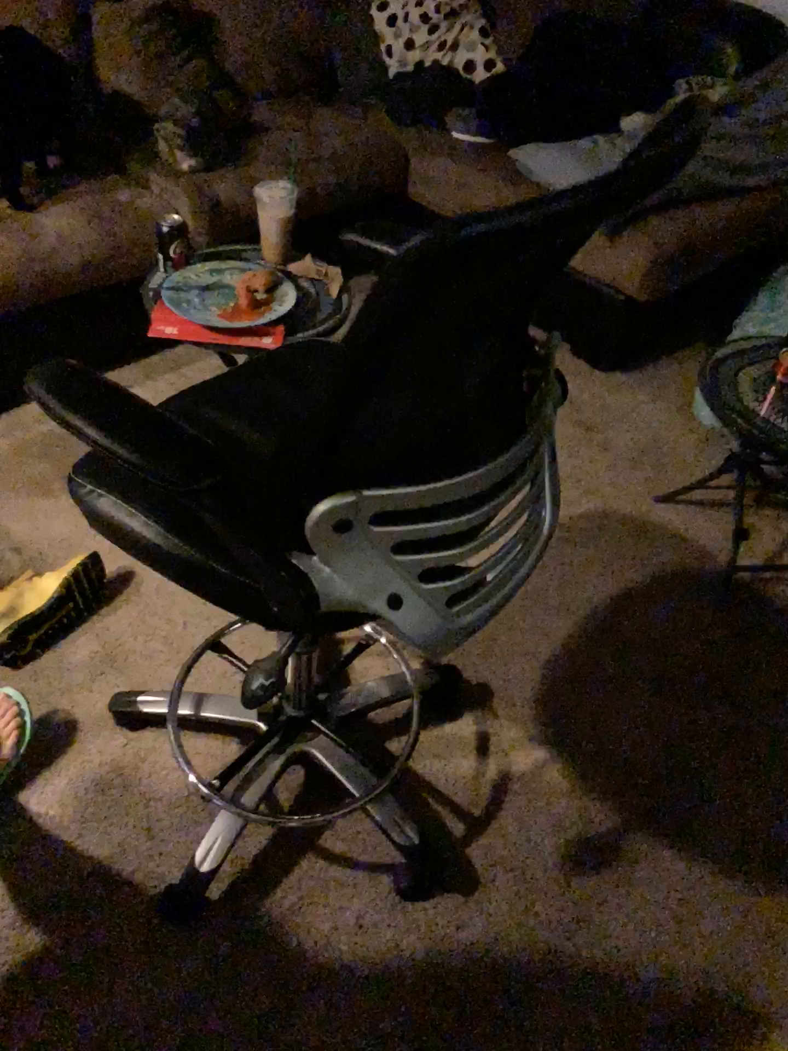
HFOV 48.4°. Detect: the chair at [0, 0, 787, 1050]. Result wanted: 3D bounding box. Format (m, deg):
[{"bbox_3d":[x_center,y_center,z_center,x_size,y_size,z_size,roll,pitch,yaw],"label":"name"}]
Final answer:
[{"bbox_3d":[-0.104,-0.013,1.156,0.700,1.120,0.780,31,48,23],"label":"chair"}]
